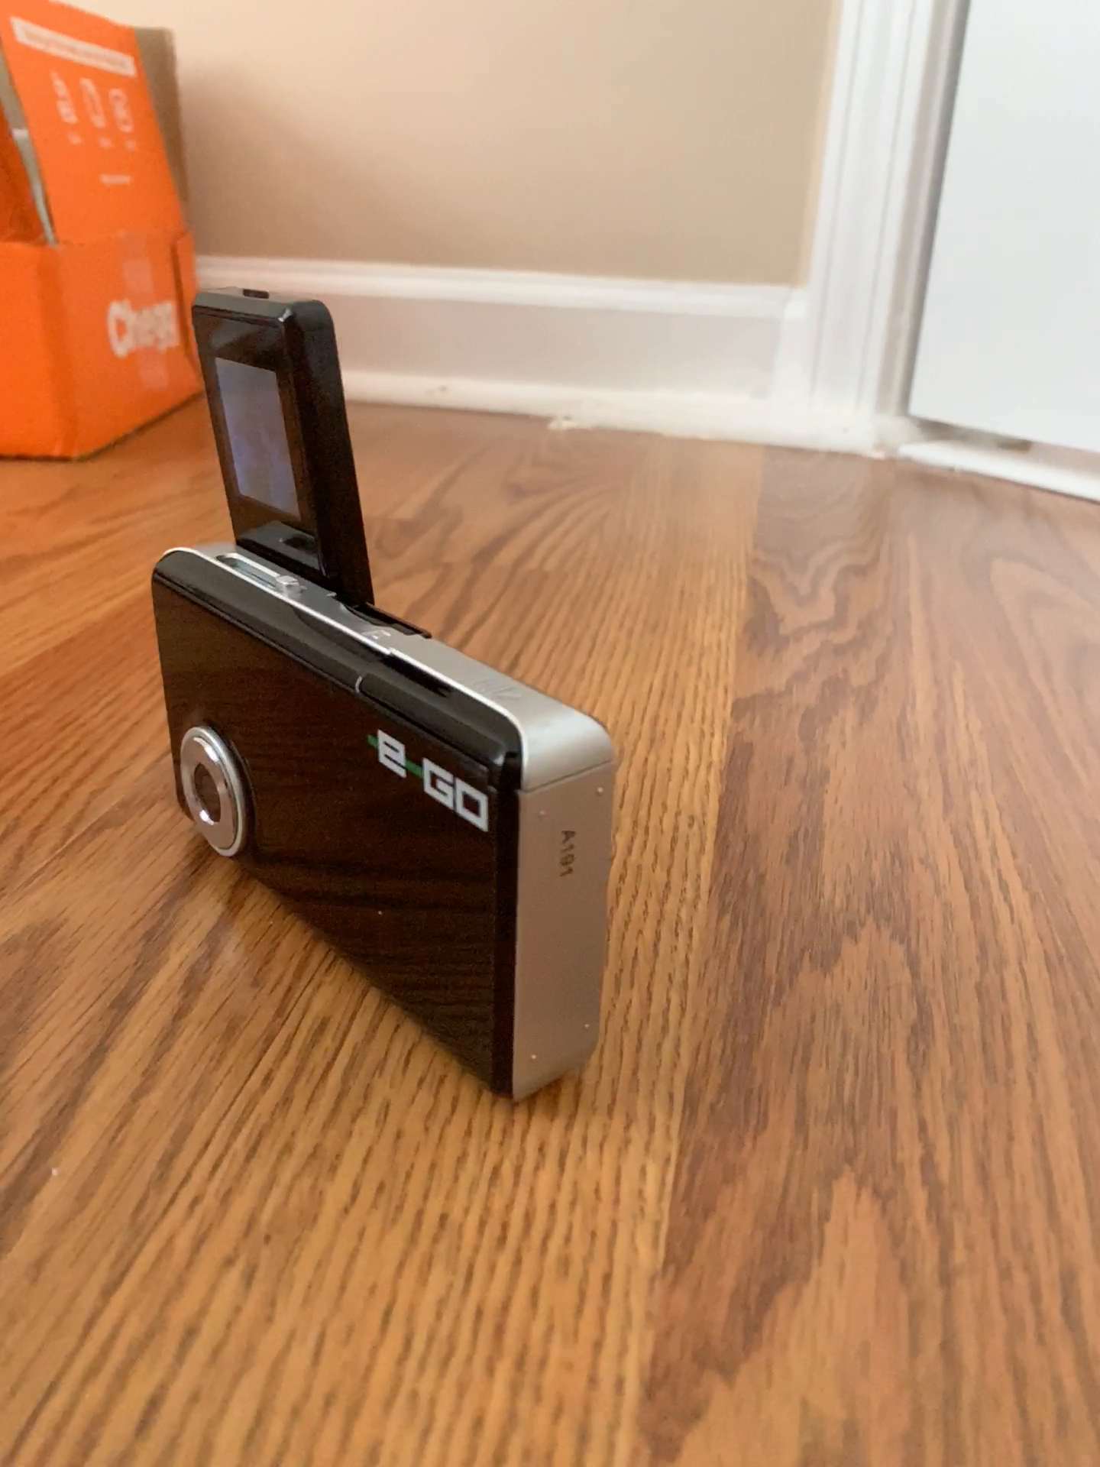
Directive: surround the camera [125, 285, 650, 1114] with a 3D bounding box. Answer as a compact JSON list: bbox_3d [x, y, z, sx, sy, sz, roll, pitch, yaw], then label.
[{"bbox_3d":[-0.036,-0.015,0.201,0.022,0.111,0.119,-16,30,-37],"label":"camera"}]
